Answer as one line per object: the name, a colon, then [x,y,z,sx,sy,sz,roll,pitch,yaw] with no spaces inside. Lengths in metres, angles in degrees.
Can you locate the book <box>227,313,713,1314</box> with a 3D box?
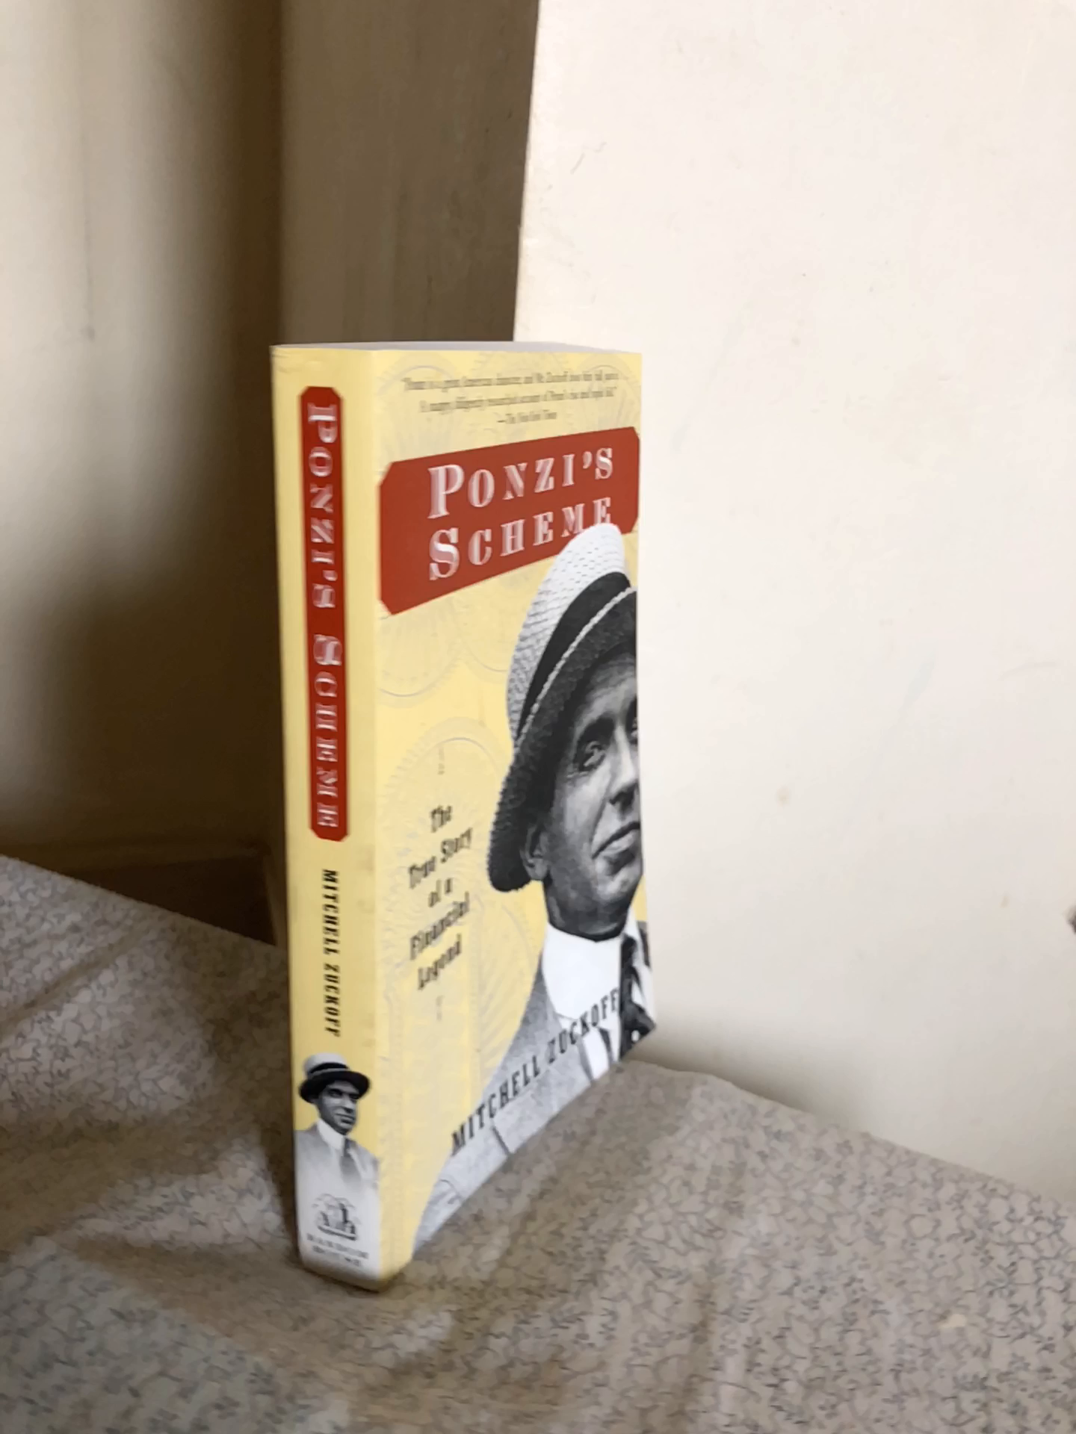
book: [-0.008,0.010,0.302,0.040,0.209,0.140,11,20,27]
